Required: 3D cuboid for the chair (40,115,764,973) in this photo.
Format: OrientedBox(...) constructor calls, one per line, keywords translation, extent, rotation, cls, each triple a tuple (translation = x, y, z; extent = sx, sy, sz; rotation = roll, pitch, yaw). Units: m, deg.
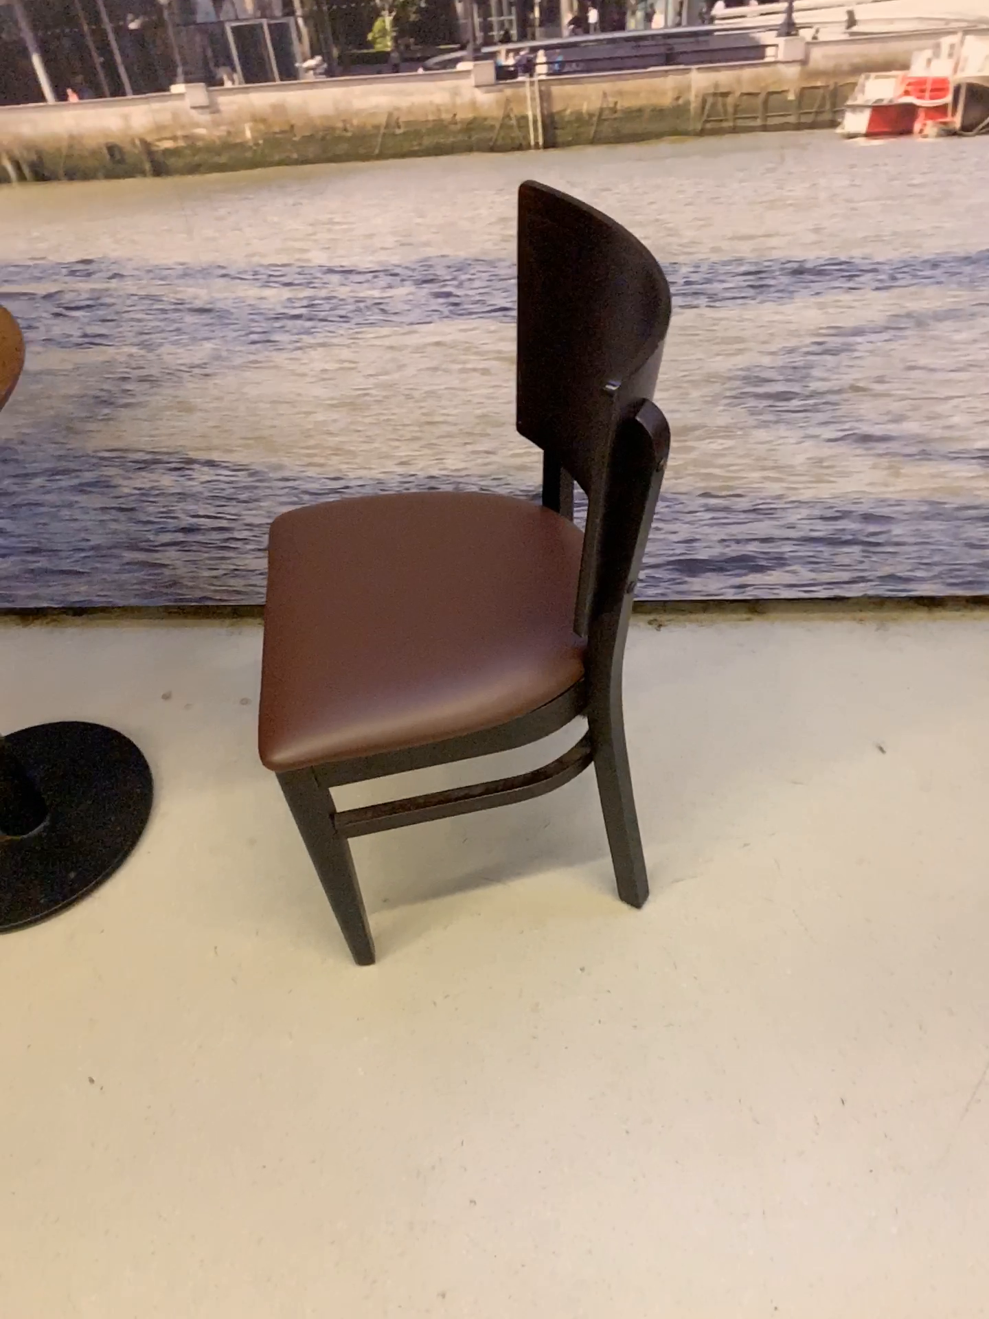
OrientedBox(translation=(-0.049, -0.109, 1.162), extent=(0.516, 0.729, 0.563), rotation=(-8, 44, 1), cls="chair")
